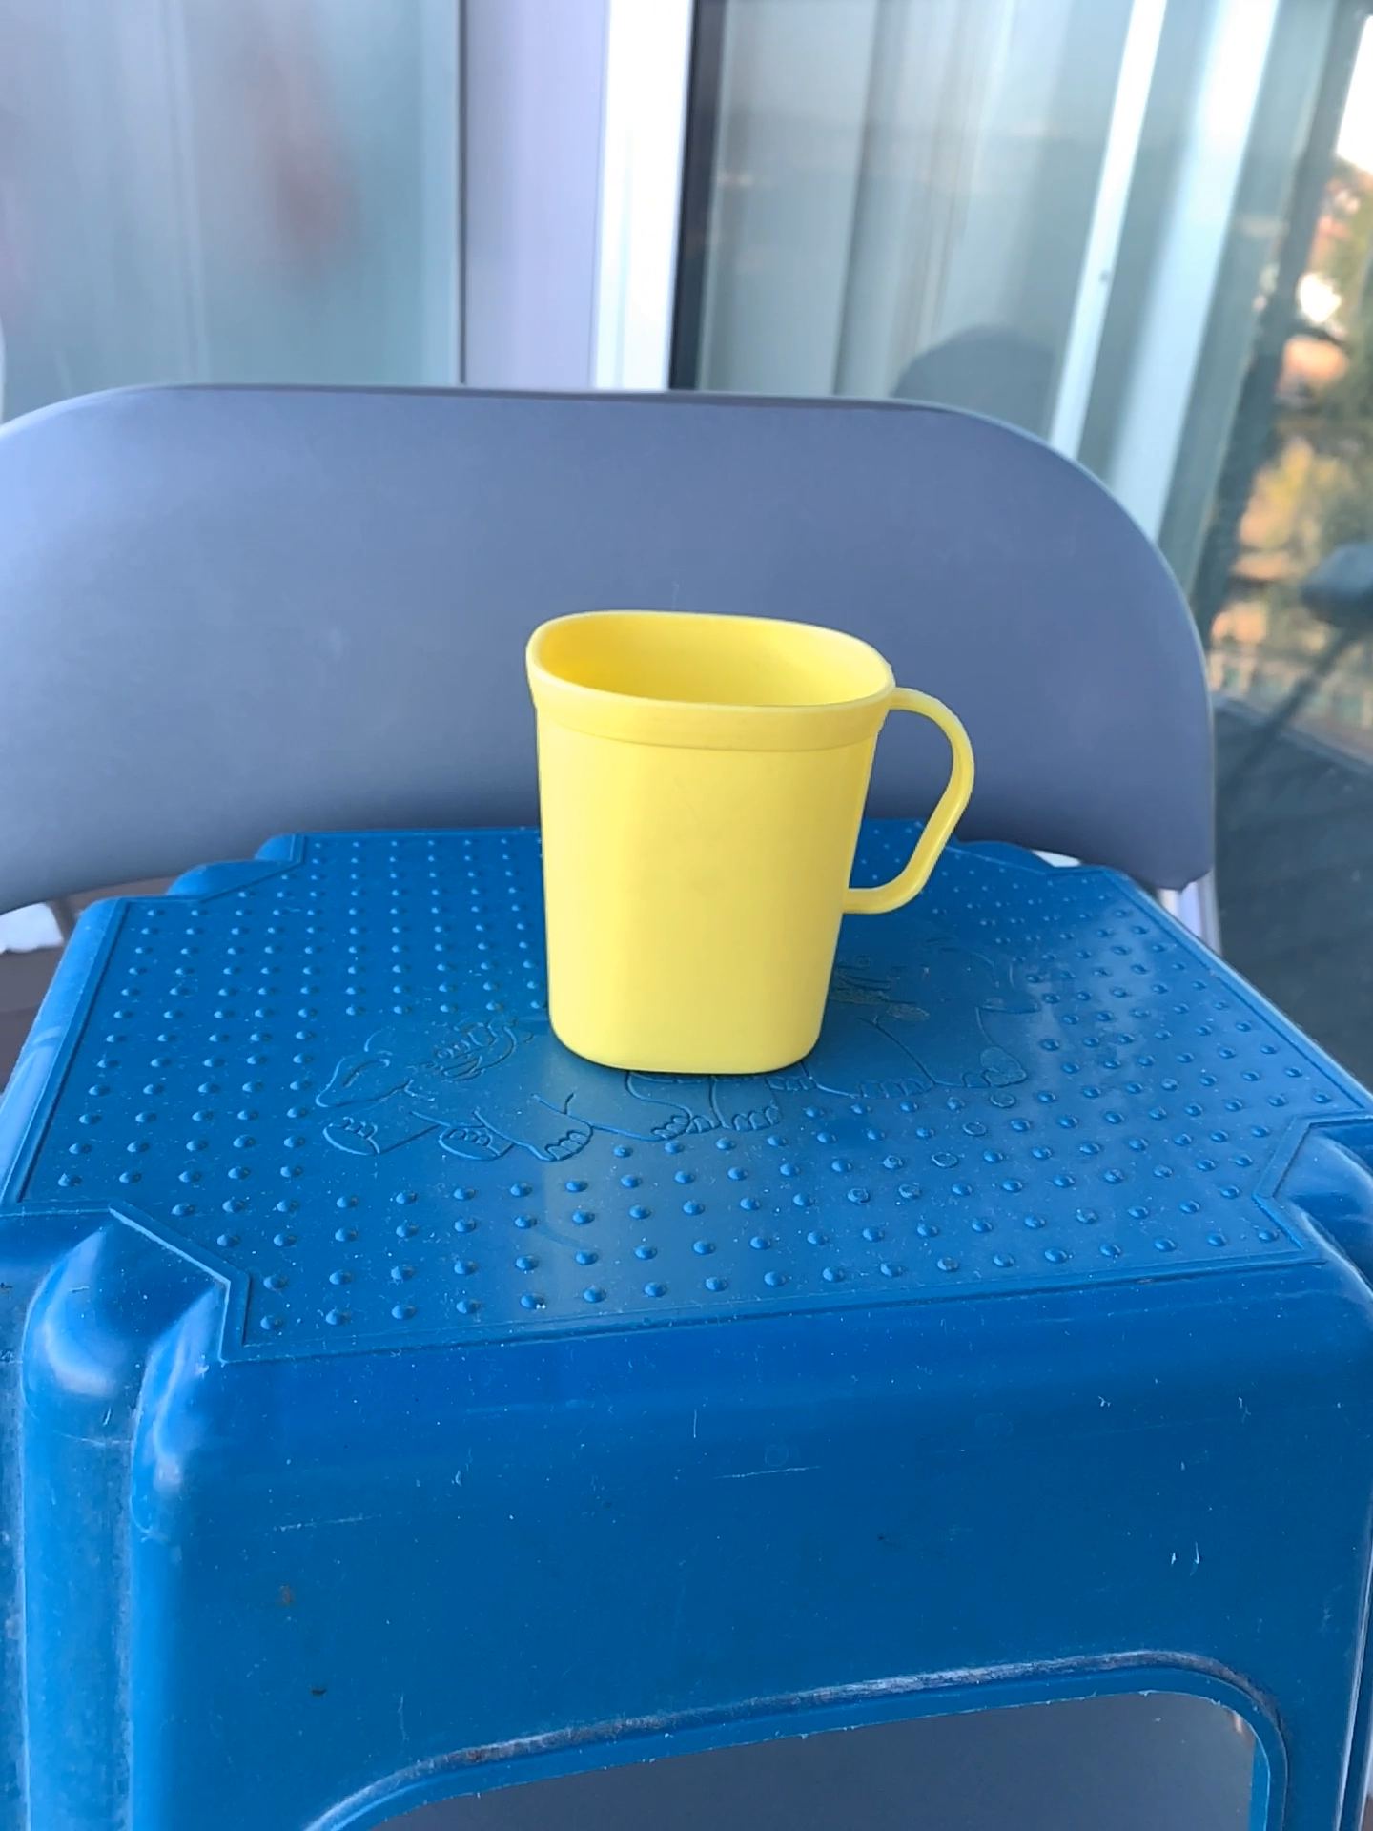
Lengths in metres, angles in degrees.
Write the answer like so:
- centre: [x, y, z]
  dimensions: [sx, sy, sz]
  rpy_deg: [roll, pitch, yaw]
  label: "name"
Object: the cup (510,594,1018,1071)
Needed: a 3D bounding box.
- centre: [0.010, -0.019, 0.295]
  dimensions: [0.089, 0.077, 0.068]
  rpy_deg: [1, 25, -4]
  label: "cup"
